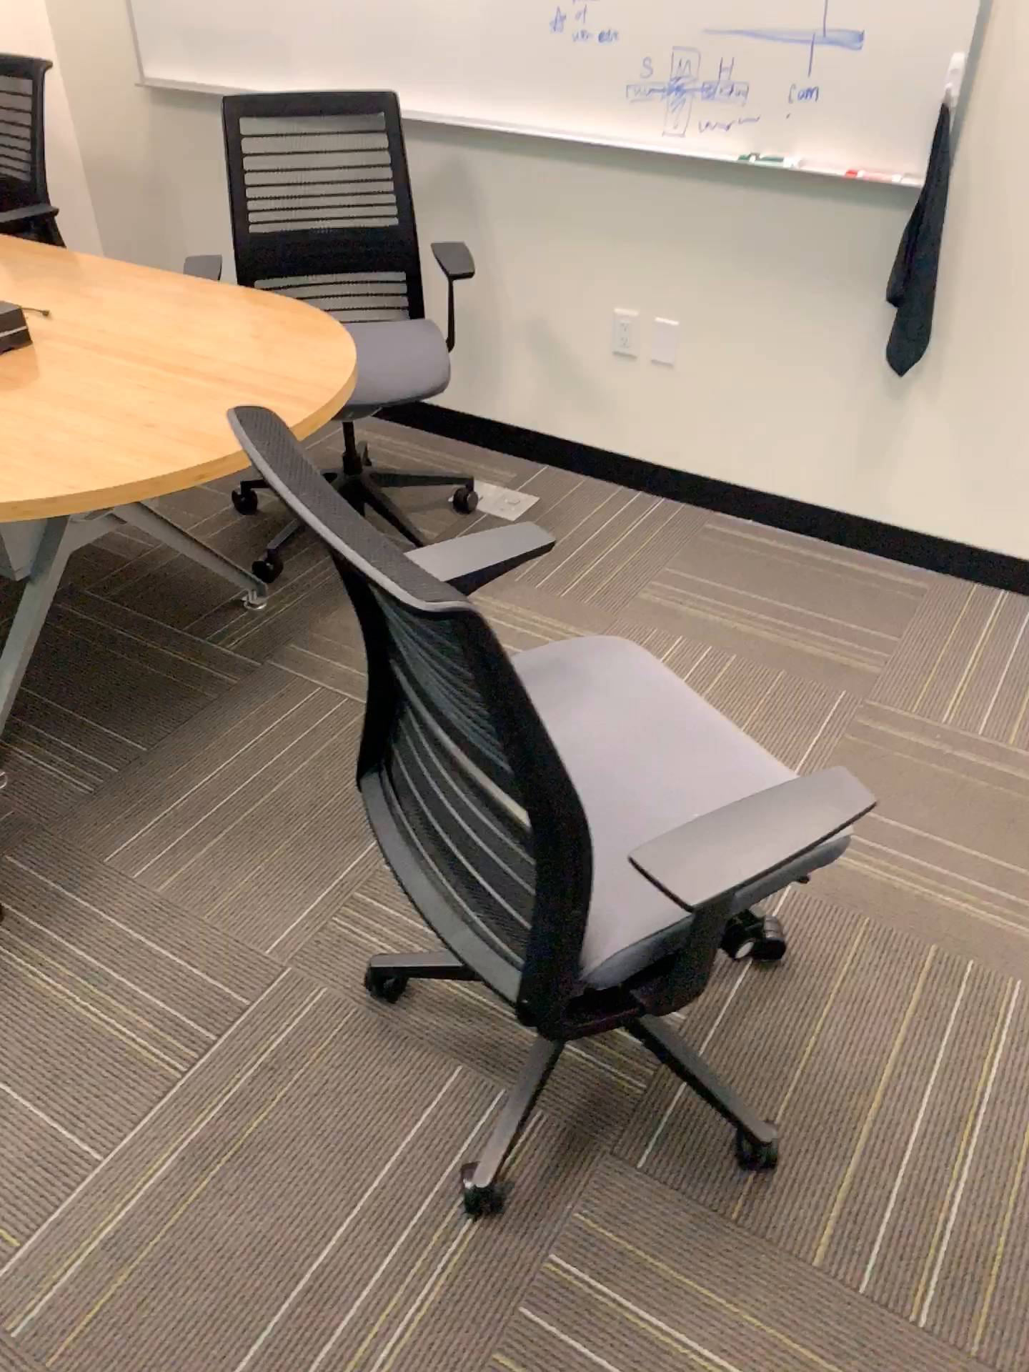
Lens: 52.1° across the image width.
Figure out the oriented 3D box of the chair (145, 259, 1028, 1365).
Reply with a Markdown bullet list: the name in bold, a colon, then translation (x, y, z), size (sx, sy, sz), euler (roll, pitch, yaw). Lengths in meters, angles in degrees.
- **chair**: translation (0.083, 0.127, 1.294), size (0.690, 0.994, 0.654), euler (-20, 42, -23)
